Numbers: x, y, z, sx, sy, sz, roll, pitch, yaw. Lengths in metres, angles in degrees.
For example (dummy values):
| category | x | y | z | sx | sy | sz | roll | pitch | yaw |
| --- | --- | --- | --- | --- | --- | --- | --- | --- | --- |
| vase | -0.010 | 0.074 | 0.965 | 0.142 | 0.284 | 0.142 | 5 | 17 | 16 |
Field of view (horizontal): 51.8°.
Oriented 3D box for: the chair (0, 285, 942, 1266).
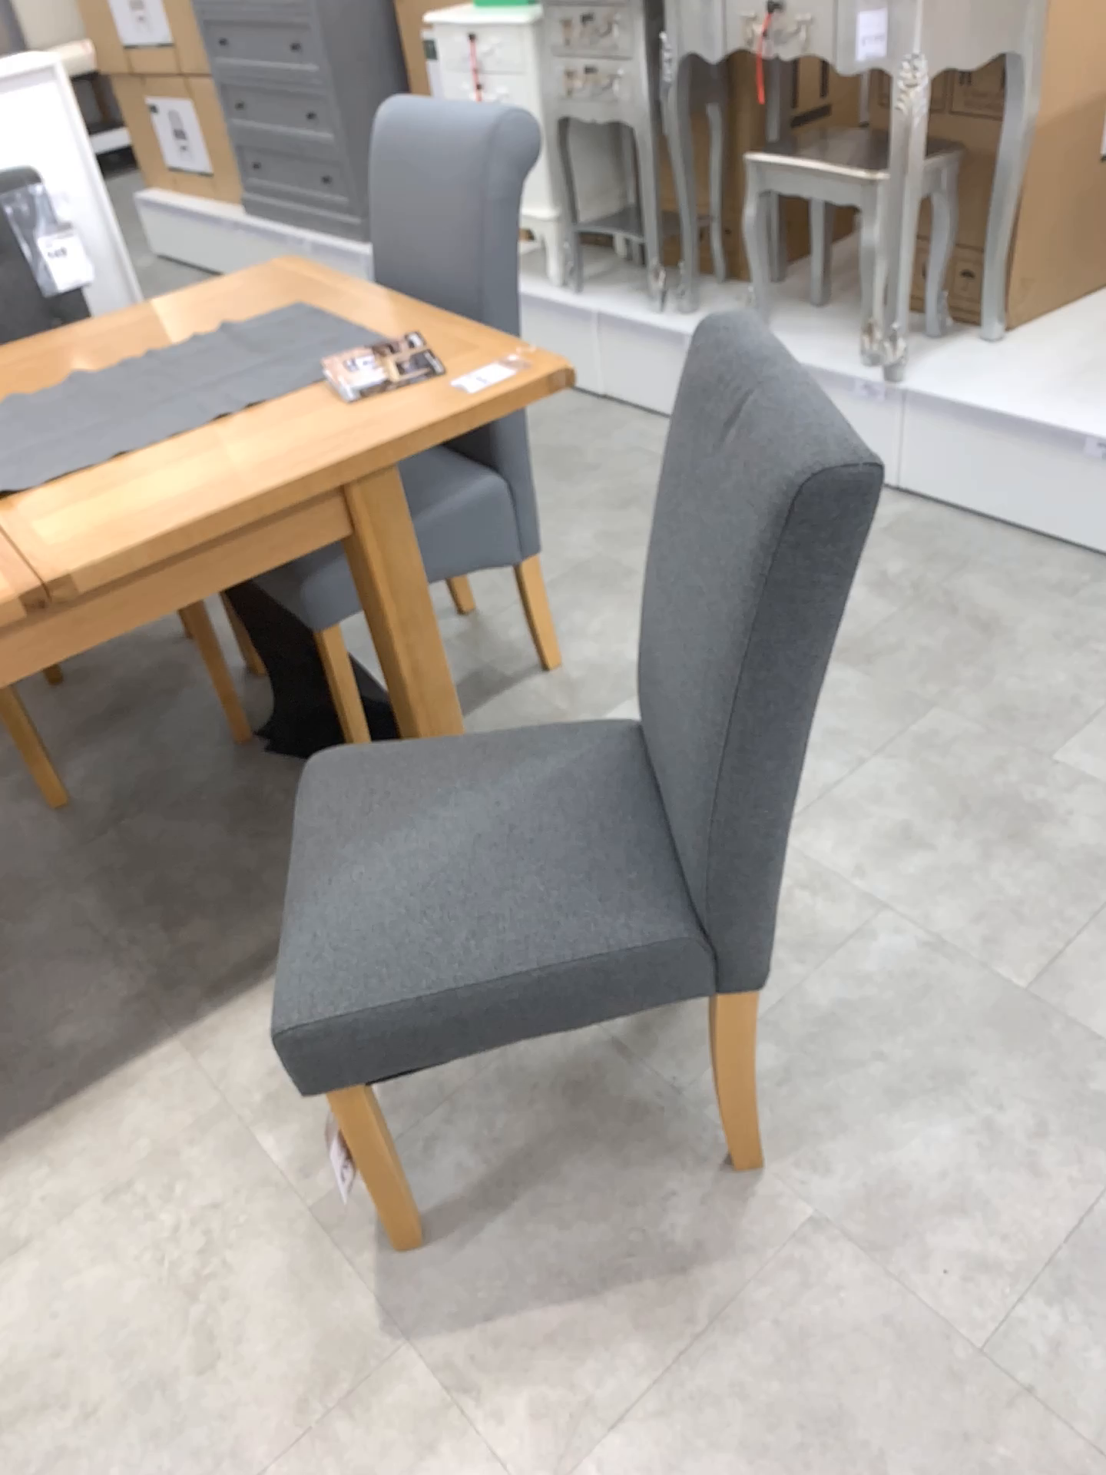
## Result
| category | x | y | z | sx | sy | sz | roll | pitch | yaw |
| --- | --- | --- | --- | --- | --- | --- | --- | --- | --- |
| chair | -0.029 | 0.073 | 1.187 | 0.642 | 0.830 | 0.448 | -10 | 38 | -1 |

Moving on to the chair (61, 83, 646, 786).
| category | x | y | z | sx | sy | sz | roll | pitch | yaw |
| --- | --- | --- | --- | --- | --- | --- | --- | --- | --- |
| chair | -0.276 | -0.524 | 1.939 | 0.624 | 0.899 | 0.507 | -32 | 43 | -26 |

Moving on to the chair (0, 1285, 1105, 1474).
| category | x | y | z | sx | sy | sz | roll | pitch | yaw |
| --- | --- | --- | --- | --- | --- | --- | --- | --- | --- |
| chair | 0.344 | 0.748 | 0.213 | 0.585 | 0.830 | 0.667 | 28 | 51 | 37 |
